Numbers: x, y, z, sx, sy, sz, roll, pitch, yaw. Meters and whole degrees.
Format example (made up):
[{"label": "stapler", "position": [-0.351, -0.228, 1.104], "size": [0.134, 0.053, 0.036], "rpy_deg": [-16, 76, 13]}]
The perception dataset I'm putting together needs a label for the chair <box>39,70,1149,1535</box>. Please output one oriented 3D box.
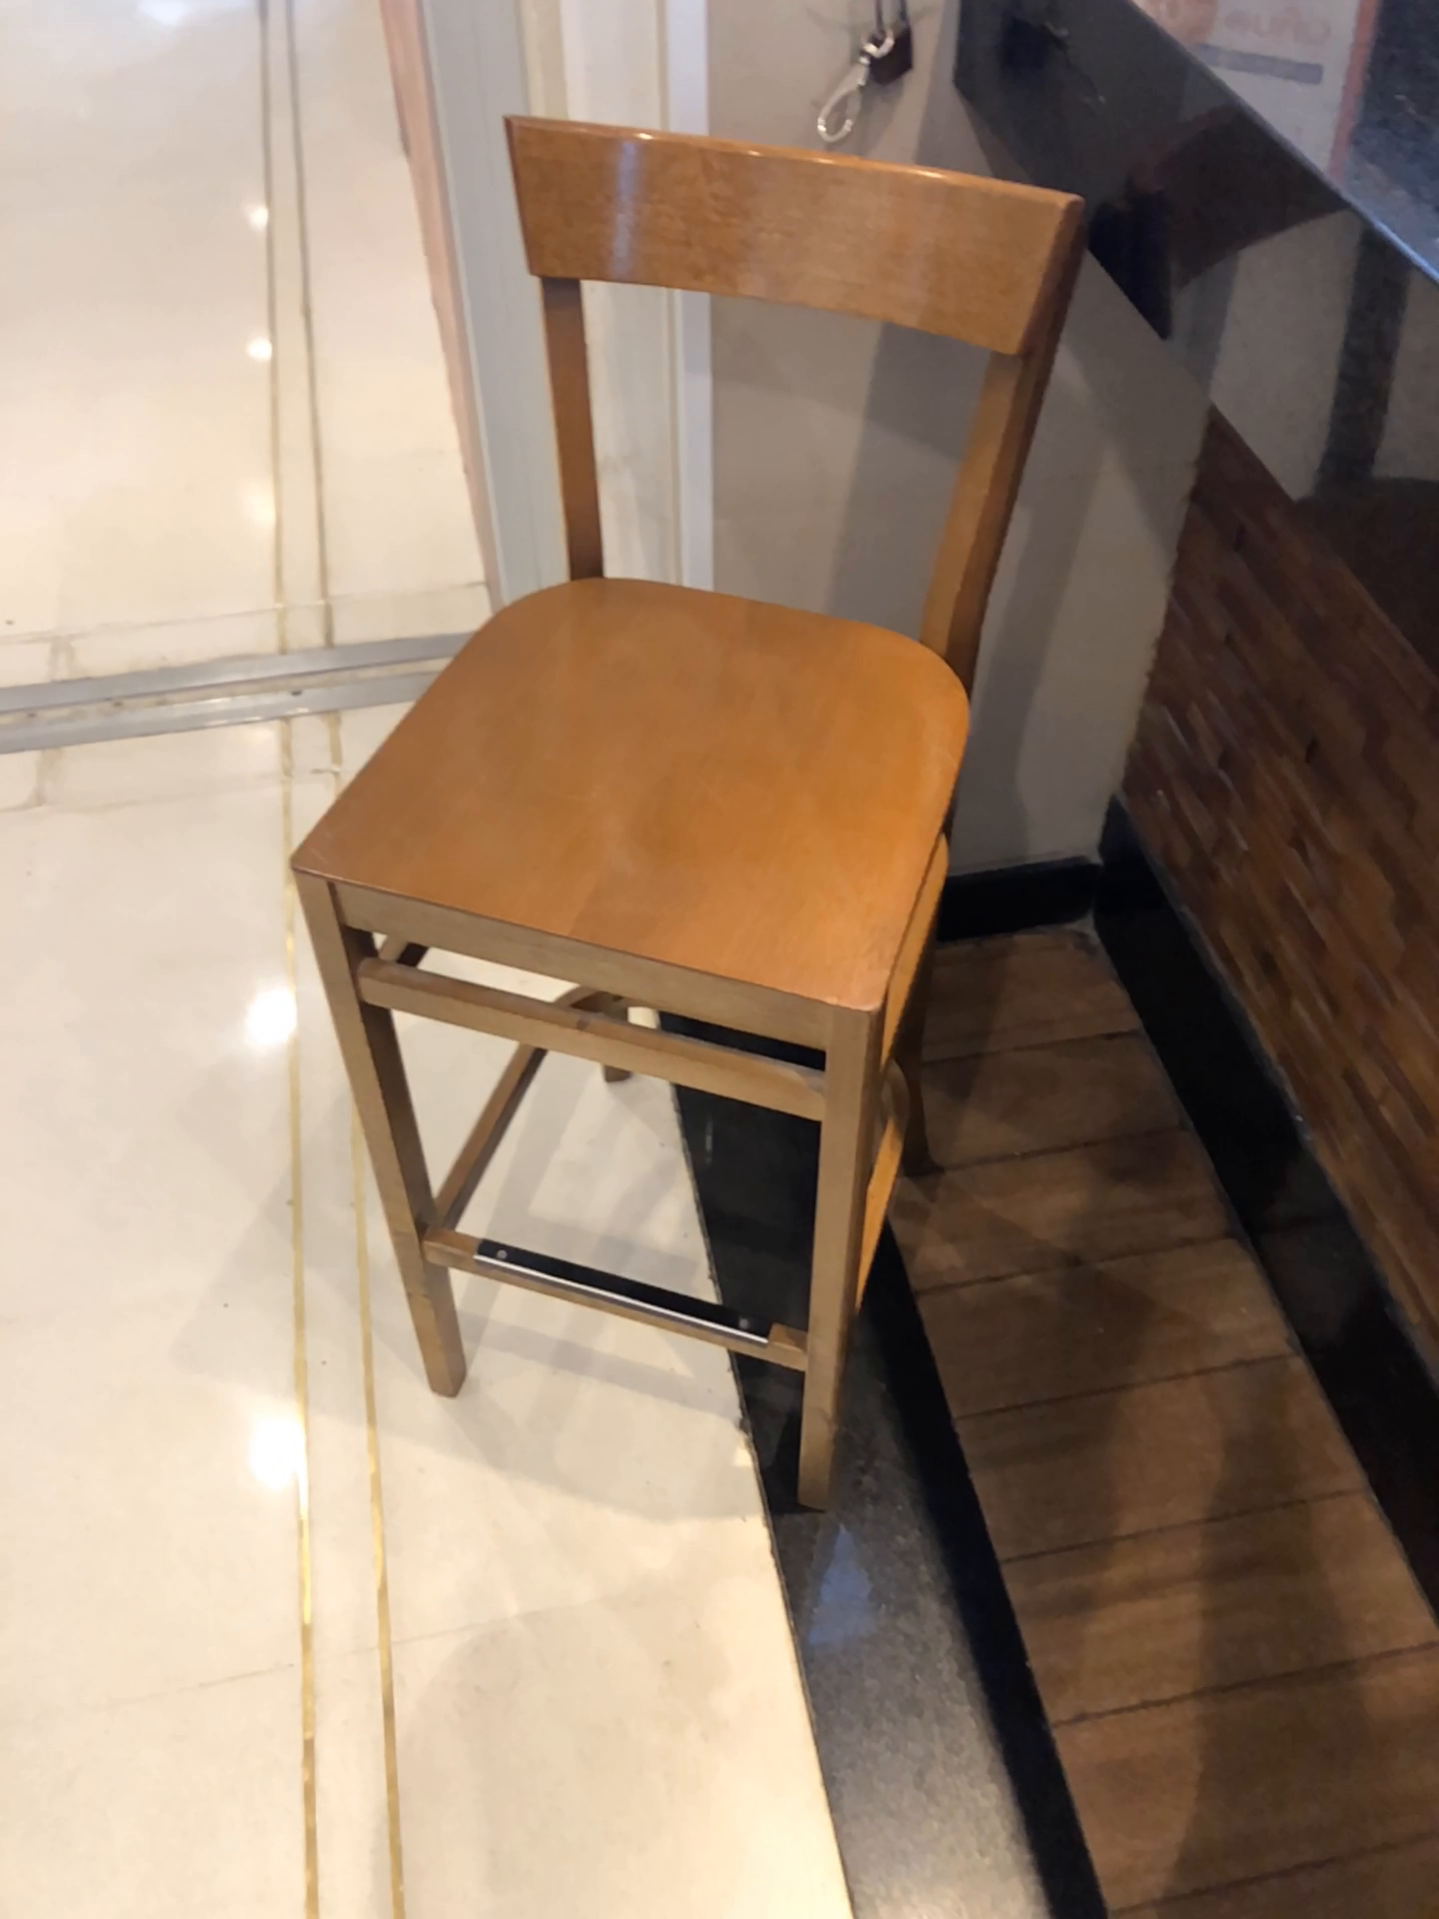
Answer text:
[{"label": "chair", "position": [-0.027, -0.055, 1.267], "size": [0.480, 0.993, 0.533], "rpy_deg": [12, 49, 11]}]
